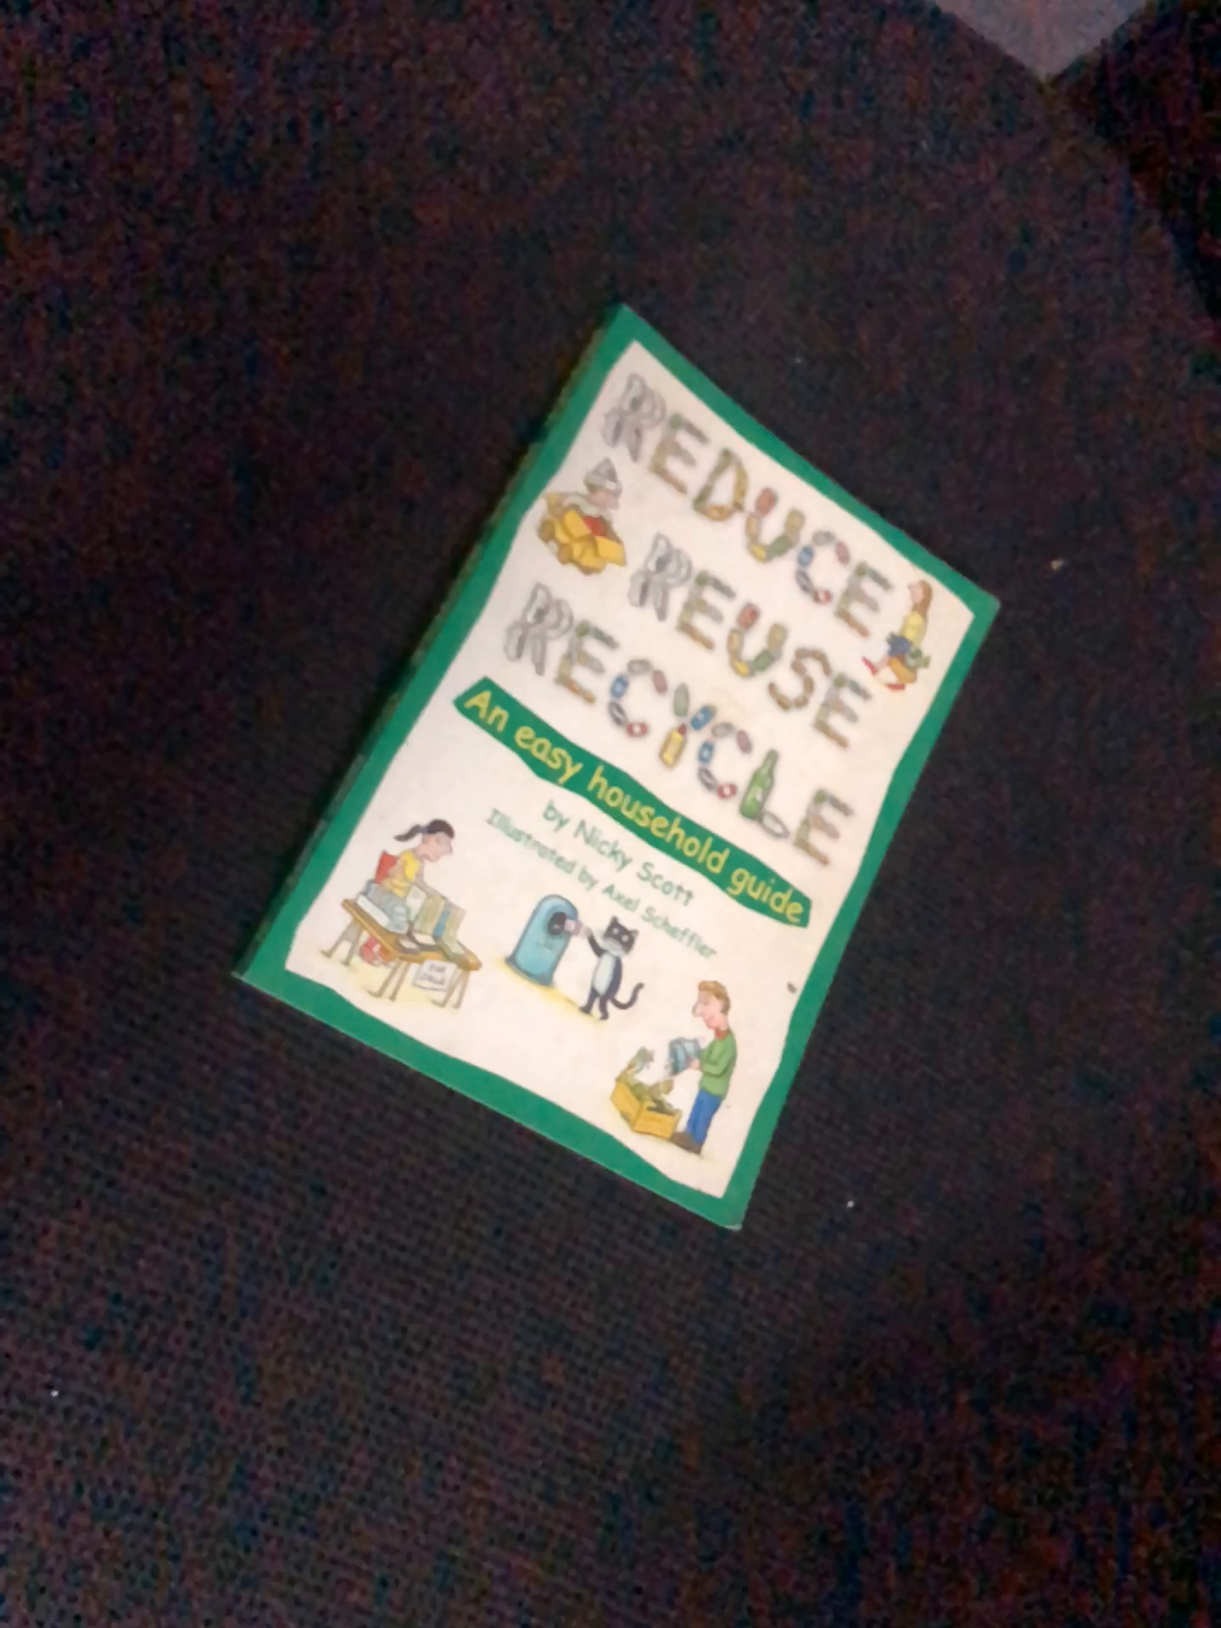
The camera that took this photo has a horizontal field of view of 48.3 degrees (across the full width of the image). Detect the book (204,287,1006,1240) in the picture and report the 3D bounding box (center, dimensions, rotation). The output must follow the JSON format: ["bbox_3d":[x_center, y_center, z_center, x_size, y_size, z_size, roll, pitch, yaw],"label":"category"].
[{"bbox_3d":[0.010,-0.012,0.314,0.130,0.018,0.173,32,72,-20],"label":"book"}]
